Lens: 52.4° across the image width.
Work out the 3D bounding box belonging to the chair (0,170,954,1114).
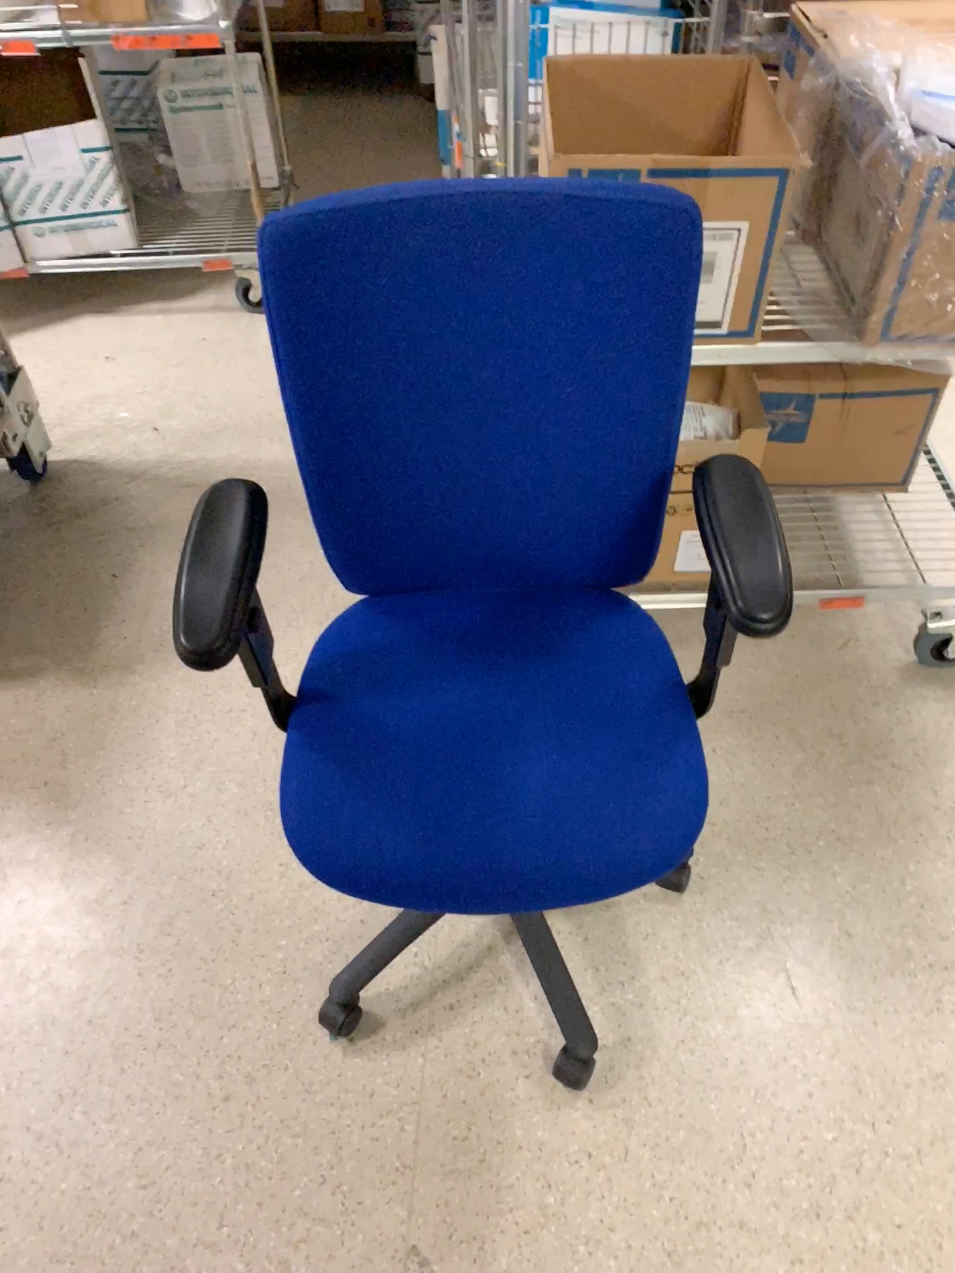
[{"bbox_3d":[0.003,0.058,1.182,0.678,0.950,0.672,1,47,2],"label":"chair"}]
